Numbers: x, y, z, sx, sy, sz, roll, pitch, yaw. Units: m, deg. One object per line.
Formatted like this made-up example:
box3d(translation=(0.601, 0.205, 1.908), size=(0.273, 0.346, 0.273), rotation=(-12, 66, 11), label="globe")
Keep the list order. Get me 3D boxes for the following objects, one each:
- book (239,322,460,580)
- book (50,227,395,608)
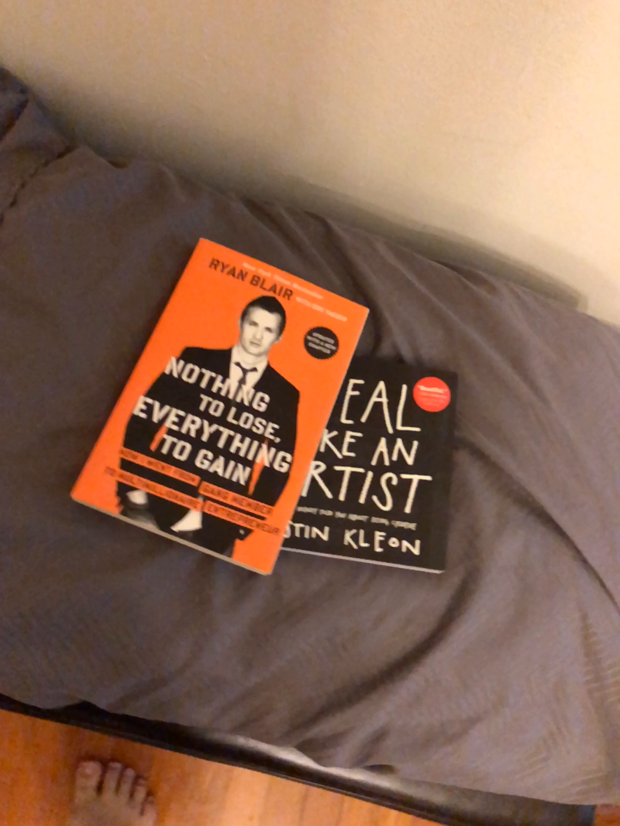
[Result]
box3d(translation=(0.034, 0.027, 0.504), size=(0.150, 0.020, 0.170), rotation=(9, 71, -9), label="book")
box3d(translation=(-0.052, -0.002, 0.492), size=(0.170, 0.020, 0.230), rotation=(22, 71, -6), label="book")
